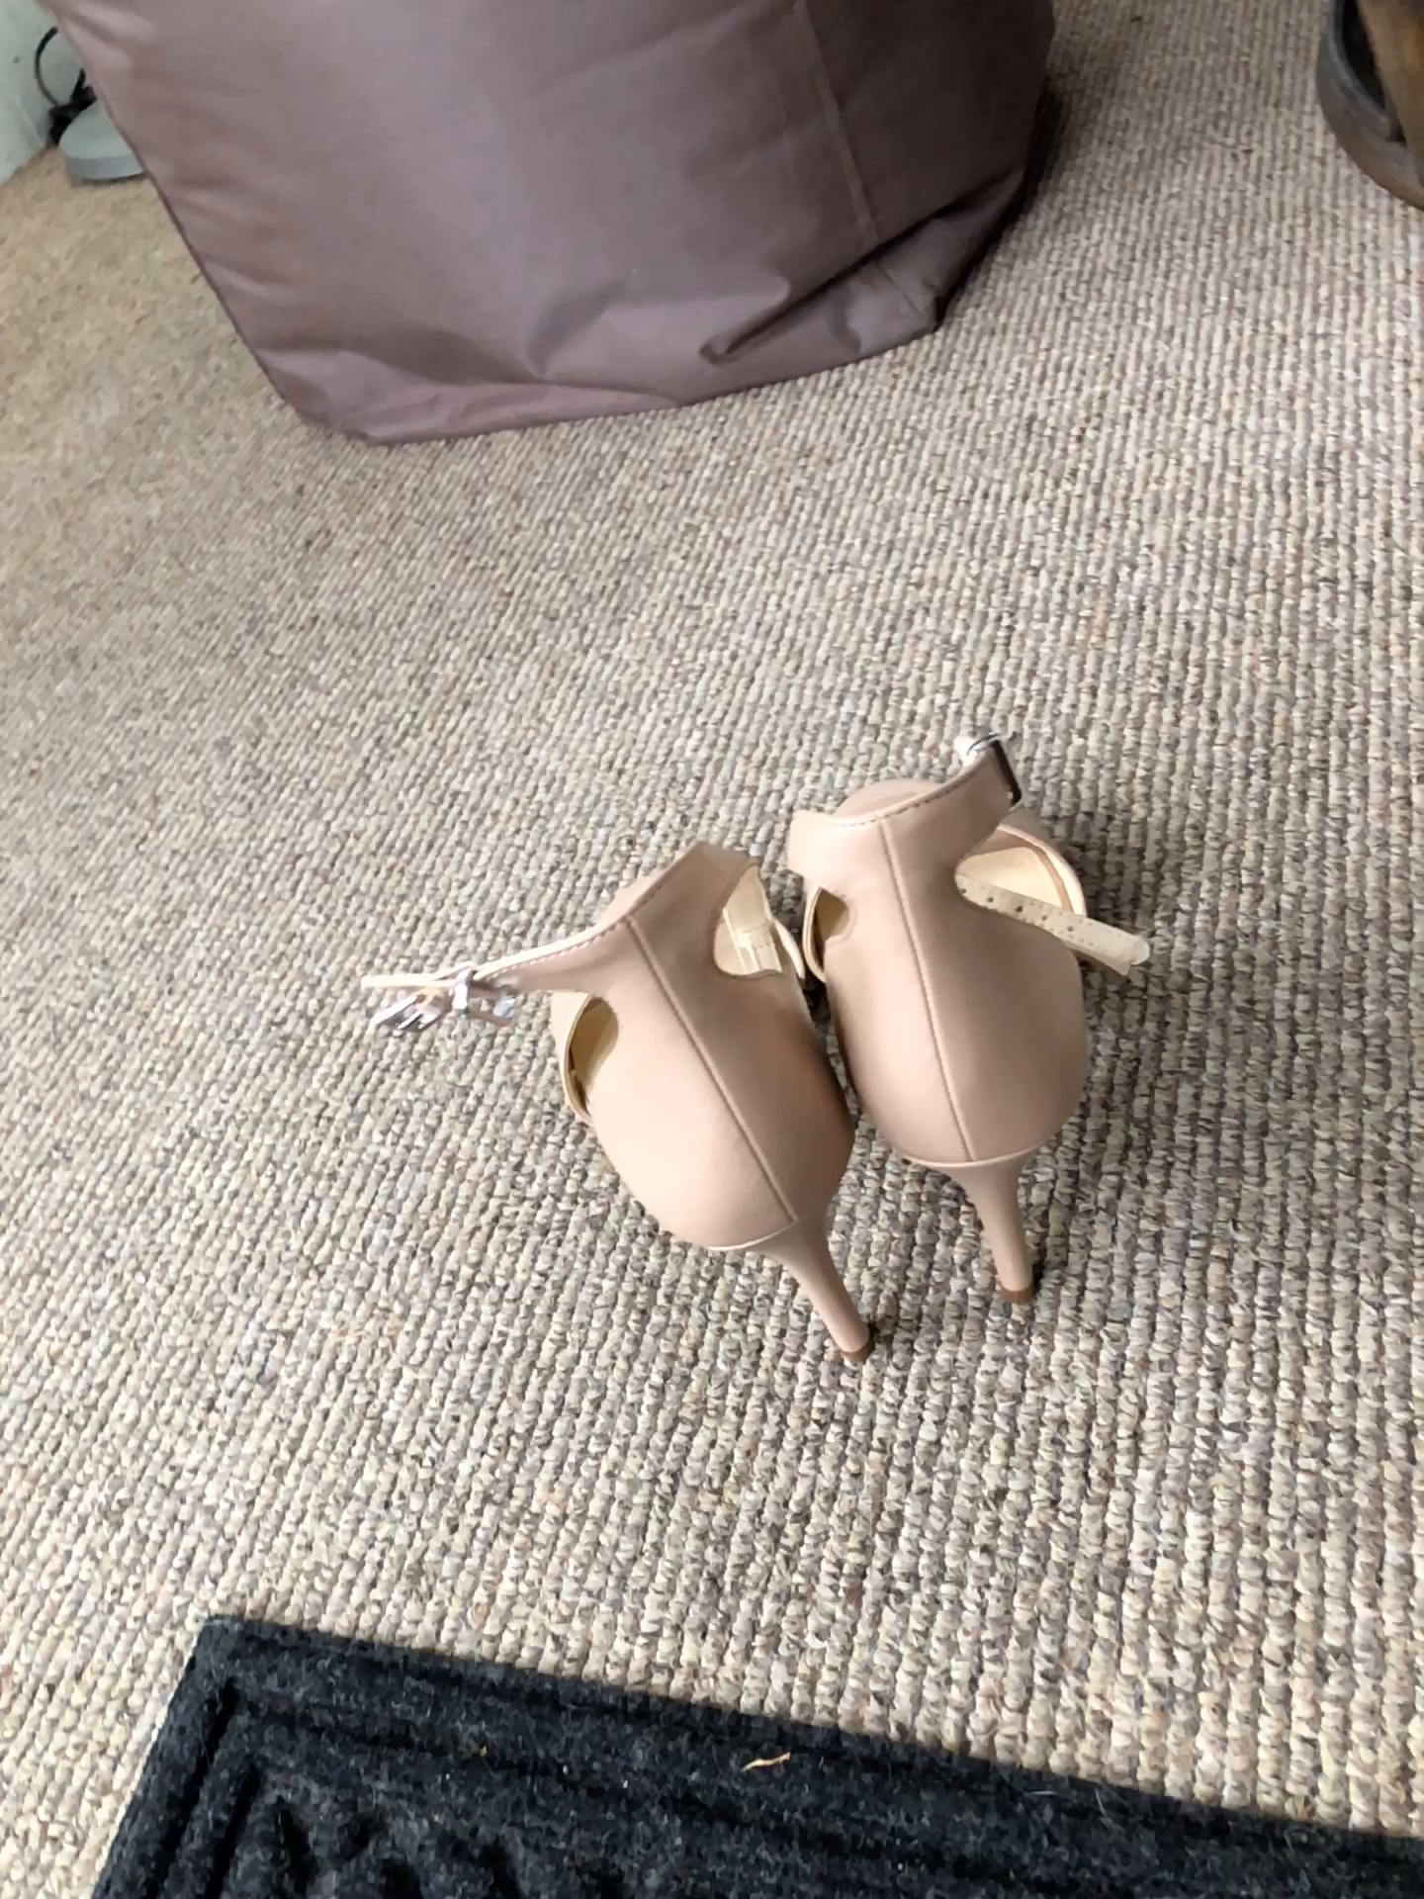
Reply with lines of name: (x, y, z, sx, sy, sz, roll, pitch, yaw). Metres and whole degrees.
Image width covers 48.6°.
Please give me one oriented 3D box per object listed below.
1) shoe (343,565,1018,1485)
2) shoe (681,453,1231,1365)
shoe: (-0.014, 0.015, 0.464, 0.105, 0.144, 0.208, -24, 44, -3)
shoe: (0.069, -0.016, 0.471, 0.099, 0.154, 0.208, -15, 45, 7)
